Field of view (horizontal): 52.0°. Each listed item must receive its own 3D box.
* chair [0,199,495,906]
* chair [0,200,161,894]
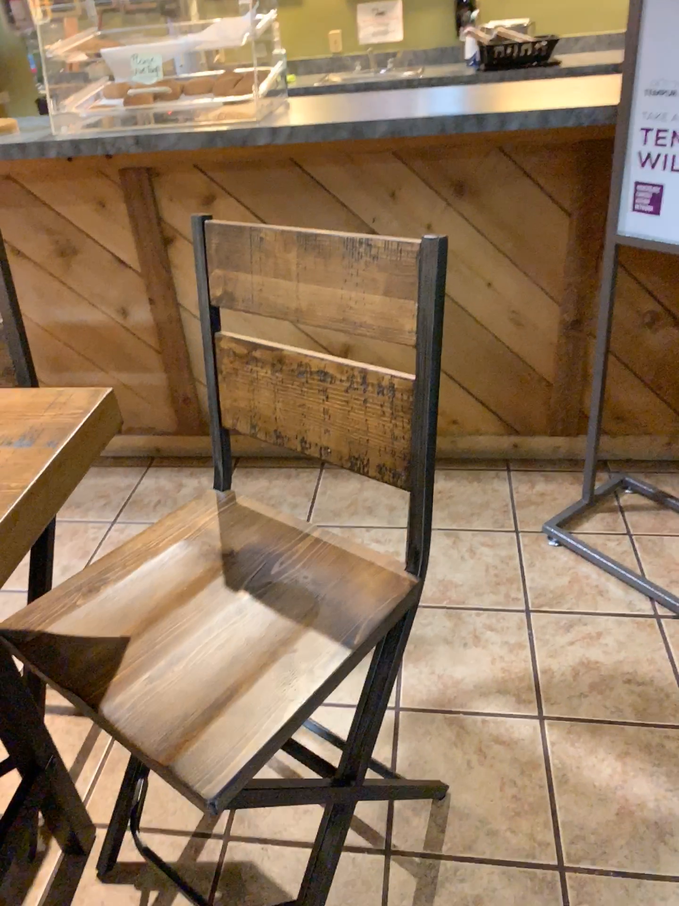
[{"bbox_3d":[-0.136,0.239,1.002,0.443,0.983,0.617,20,43,36],"label":"chair"},{"bbox_3d":[-0.760,0.173,1.210,0.492,1.003,0.618,1,35,9],"label":"chair"}]
